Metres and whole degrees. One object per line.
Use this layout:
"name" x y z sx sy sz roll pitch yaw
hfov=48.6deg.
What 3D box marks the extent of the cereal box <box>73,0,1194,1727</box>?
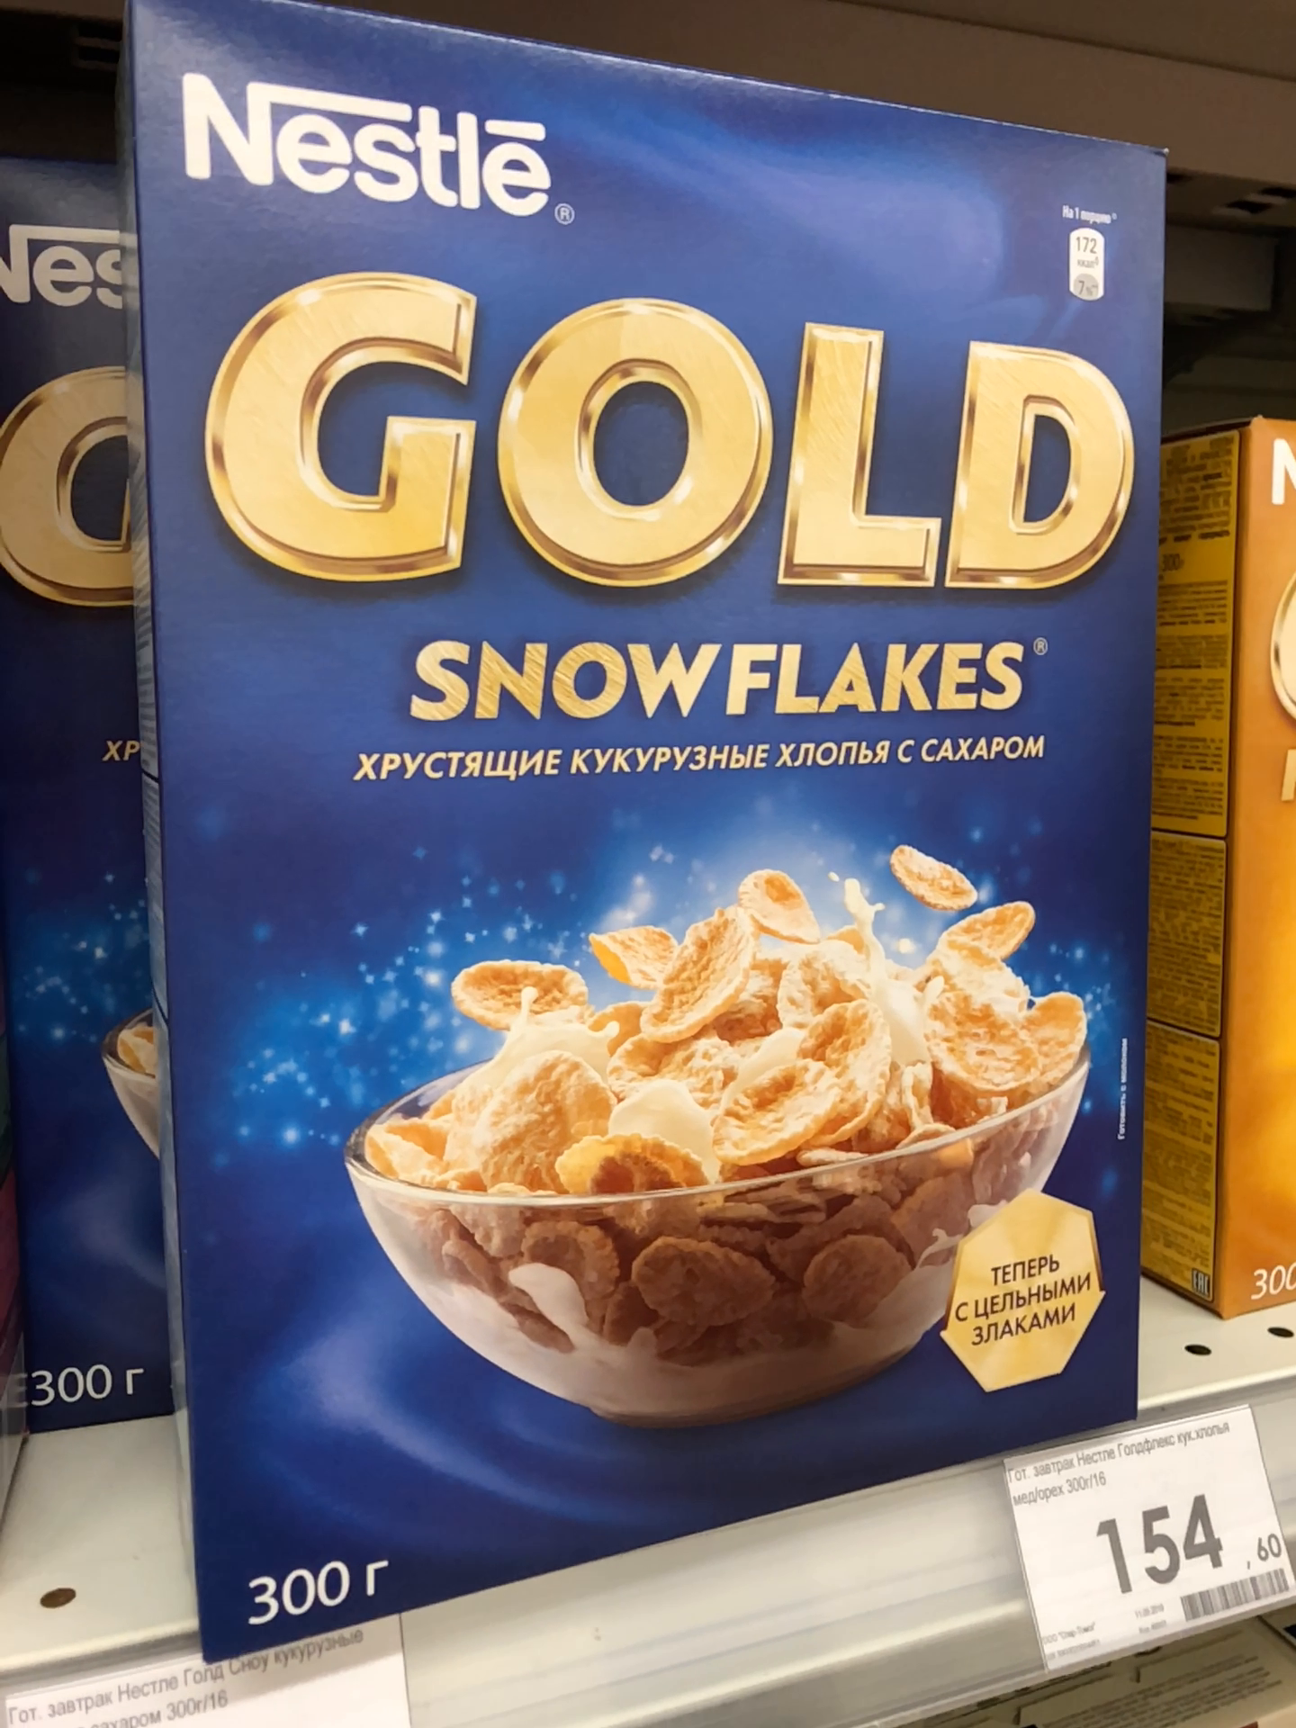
"cereal box" 0.006 -0.006 0.275 0.200 0.270 0.050 -4 6 -23
